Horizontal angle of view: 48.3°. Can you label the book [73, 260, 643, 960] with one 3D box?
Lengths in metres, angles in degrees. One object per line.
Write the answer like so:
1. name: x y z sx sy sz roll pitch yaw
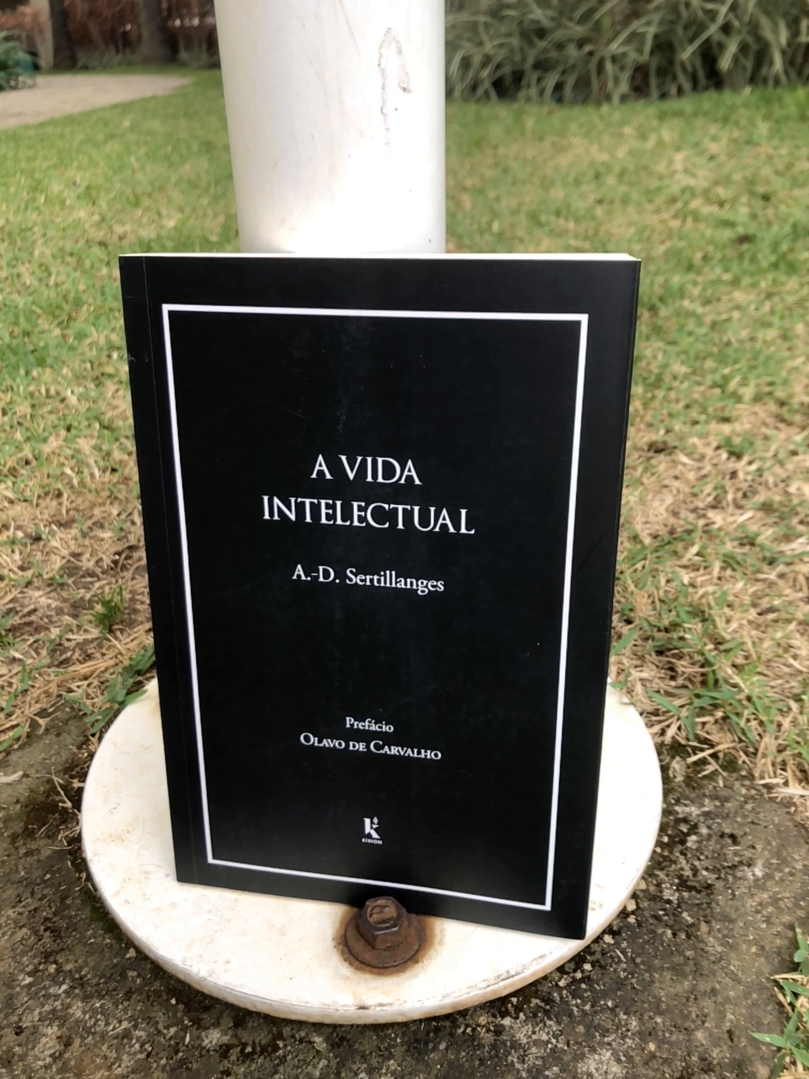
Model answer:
1. book: -0.012 0.022 0.257 0.140 0.193 0.025 4 19 12
